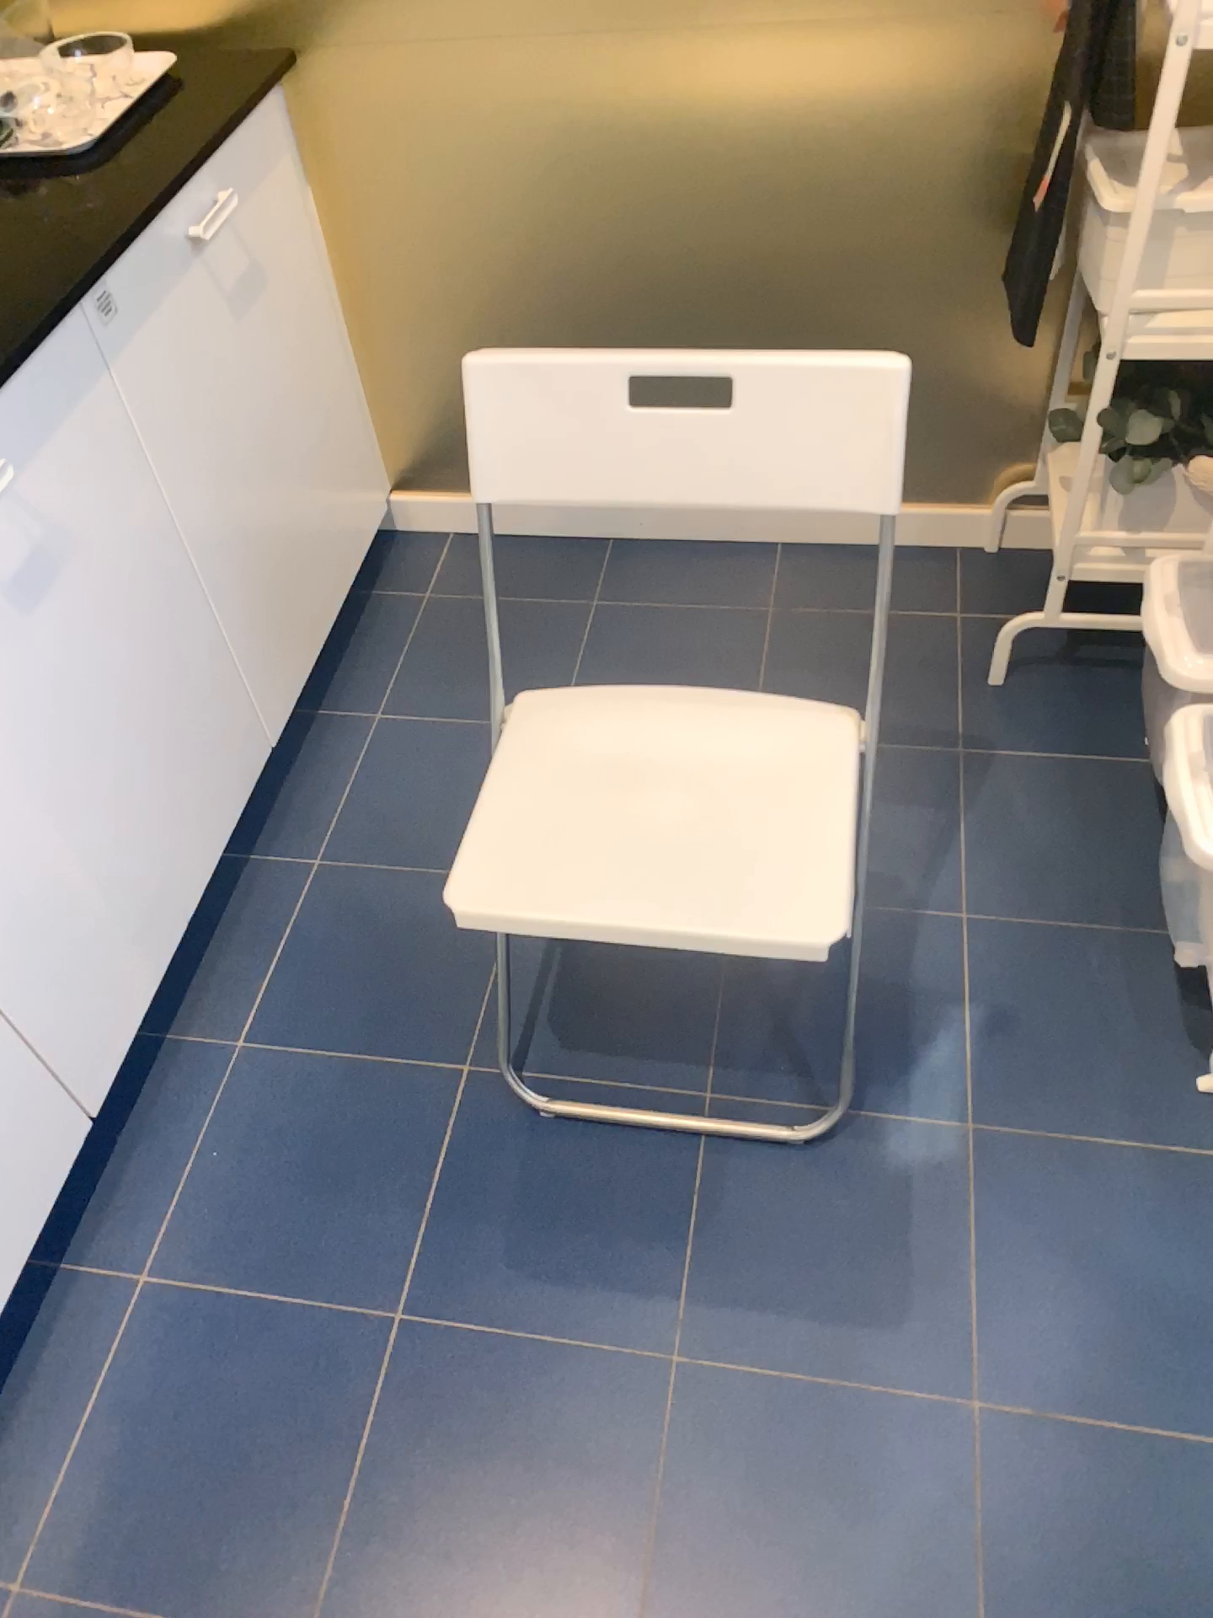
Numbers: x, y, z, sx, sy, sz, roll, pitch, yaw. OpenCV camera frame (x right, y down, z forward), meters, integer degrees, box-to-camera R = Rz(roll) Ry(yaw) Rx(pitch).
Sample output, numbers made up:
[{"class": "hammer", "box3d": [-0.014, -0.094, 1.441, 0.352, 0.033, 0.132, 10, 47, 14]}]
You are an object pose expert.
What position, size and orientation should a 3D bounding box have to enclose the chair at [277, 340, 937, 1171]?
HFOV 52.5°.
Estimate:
[{"class": "chair", "box3d": [0.060, -0.030, 1.252, 0.460, 0.707, 0.451, 4, 49, 11]}]
